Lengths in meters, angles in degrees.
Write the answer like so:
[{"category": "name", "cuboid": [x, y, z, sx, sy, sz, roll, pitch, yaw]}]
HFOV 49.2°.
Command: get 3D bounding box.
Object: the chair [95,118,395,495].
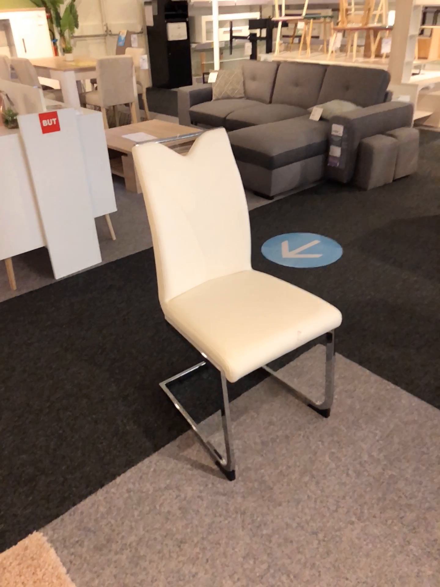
[{"category": "chair", "cuboid": [0.064, -0.011, 1.568, 0.563, 0.915, 0.630, -23, 36, -32]}]
